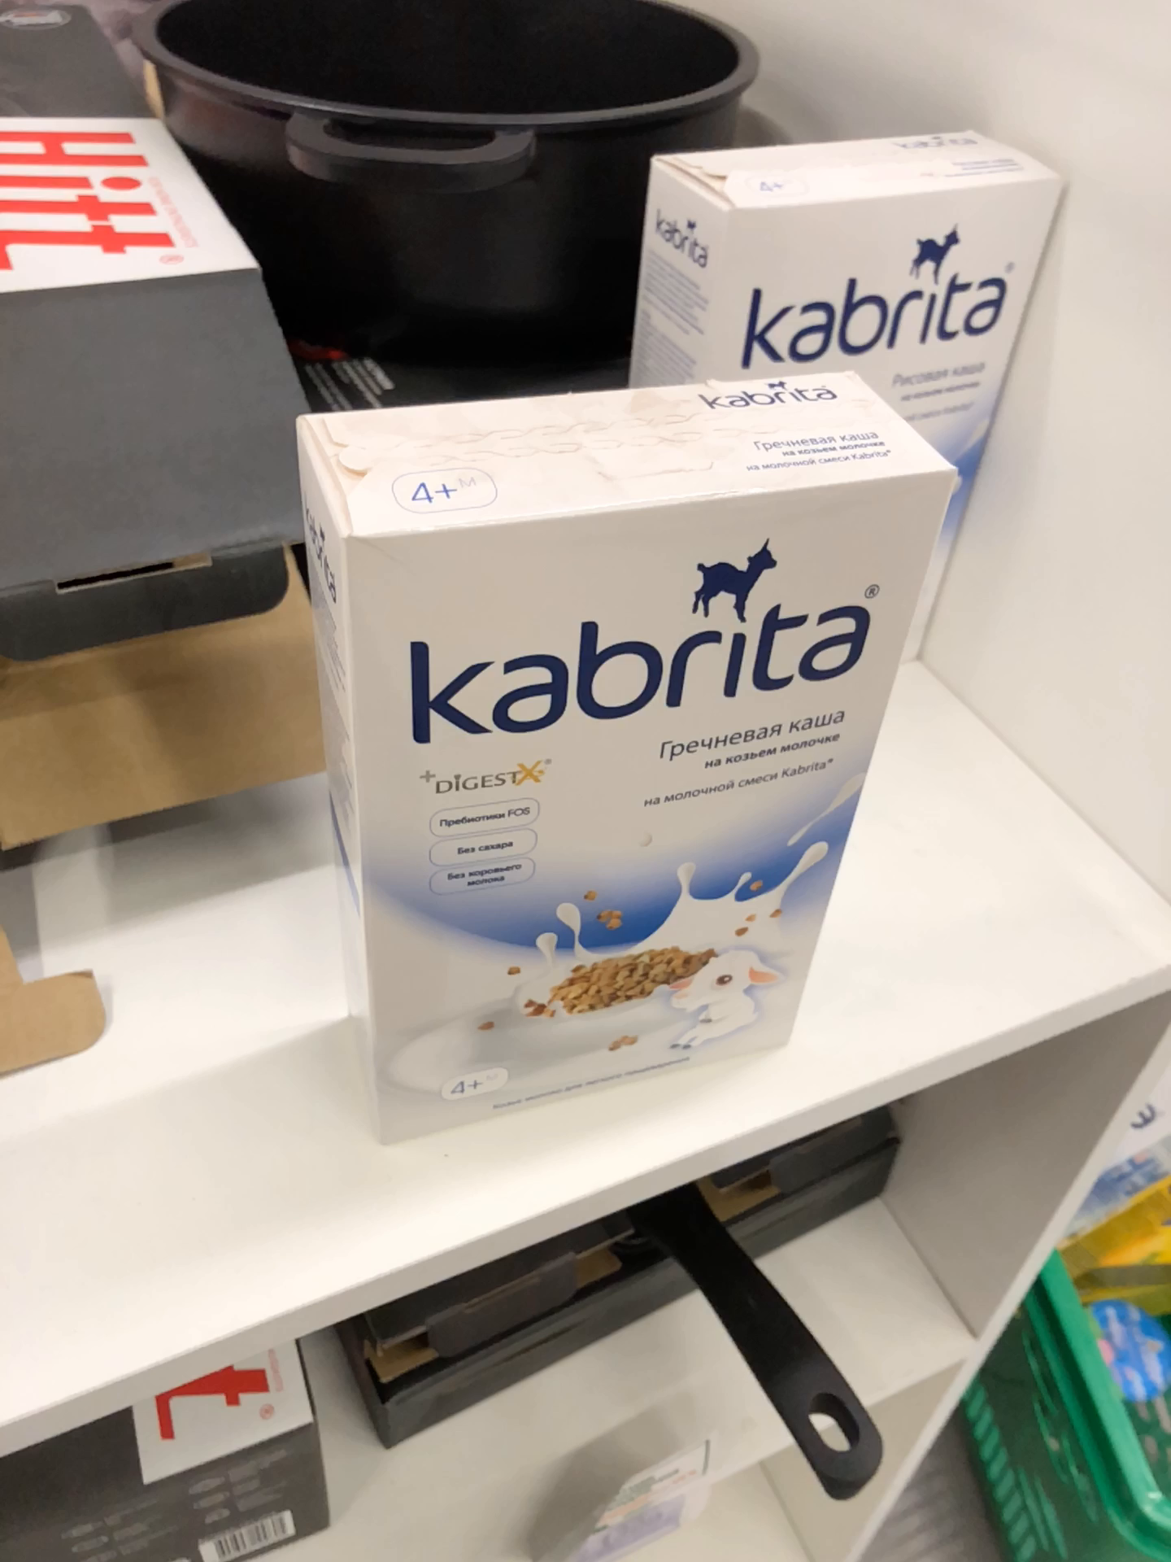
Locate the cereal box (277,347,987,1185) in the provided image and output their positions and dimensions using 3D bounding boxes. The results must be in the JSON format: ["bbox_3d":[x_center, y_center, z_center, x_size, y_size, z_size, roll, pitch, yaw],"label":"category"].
[{"bbox_3d":[0.003,0.007,0.343,0.140,0.219,0.050,-11,44,-18],"label":"cereal box"}]
